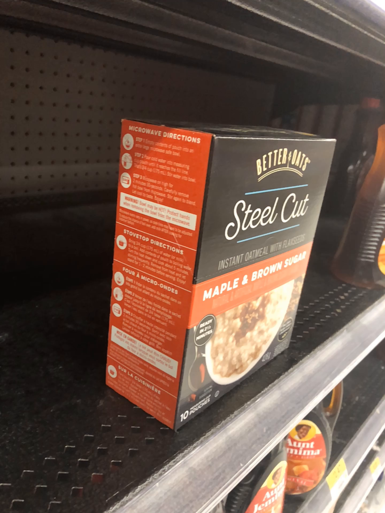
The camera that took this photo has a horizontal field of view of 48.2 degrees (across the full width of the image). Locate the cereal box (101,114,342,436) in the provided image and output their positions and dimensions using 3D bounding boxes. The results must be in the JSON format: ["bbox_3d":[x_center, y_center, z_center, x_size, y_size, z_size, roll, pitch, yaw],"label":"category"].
[{"bbox_3d":[0.024,-0.001,0.313,0.070,0.179,0.160,22,24,33],"label":"cereal box"}]
